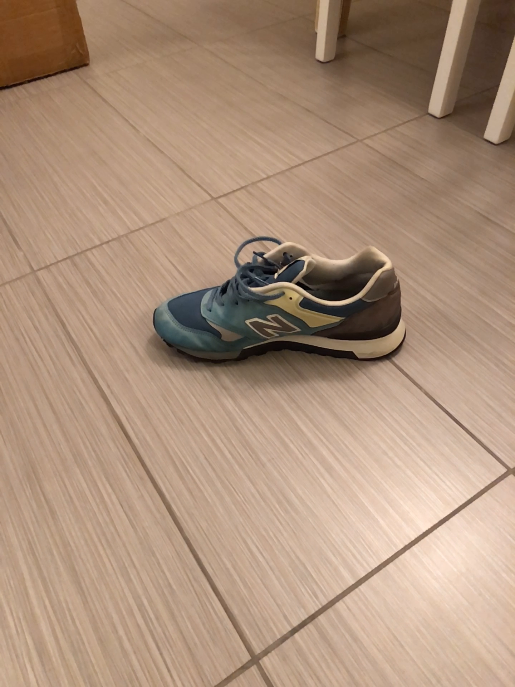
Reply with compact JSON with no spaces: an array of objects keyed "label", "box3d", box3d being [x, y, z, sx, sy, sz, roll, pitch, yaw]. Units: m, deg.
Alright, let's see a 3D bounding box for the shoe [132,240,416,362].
[{"label":"shoe","box3d":[0.021,-0.052,0.665,0.300,0.070,0.131,1,46,6]}]
